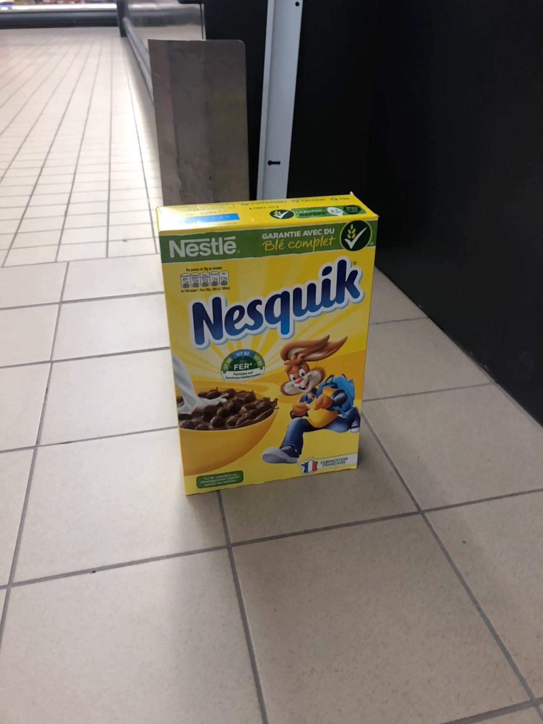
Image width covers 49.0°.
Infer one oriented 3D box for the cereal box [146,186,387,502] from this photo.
[{"bbox_3d":[-0.005,-0.010,0.596,0.200,0.298,0.070,-7,32,-10],"label":"cereal box"}]
